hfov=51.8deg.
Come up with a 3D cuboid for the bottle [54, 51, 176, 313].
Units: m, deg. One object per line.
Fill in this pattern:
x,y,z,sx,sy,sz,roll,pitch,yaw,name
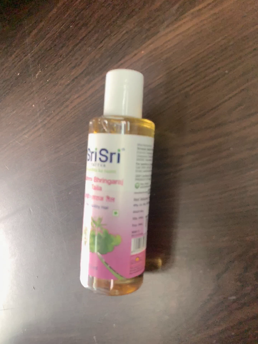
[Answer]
-0.008,0.004,0.161,0.050,0.040,0.130,7,94,33,bottle
